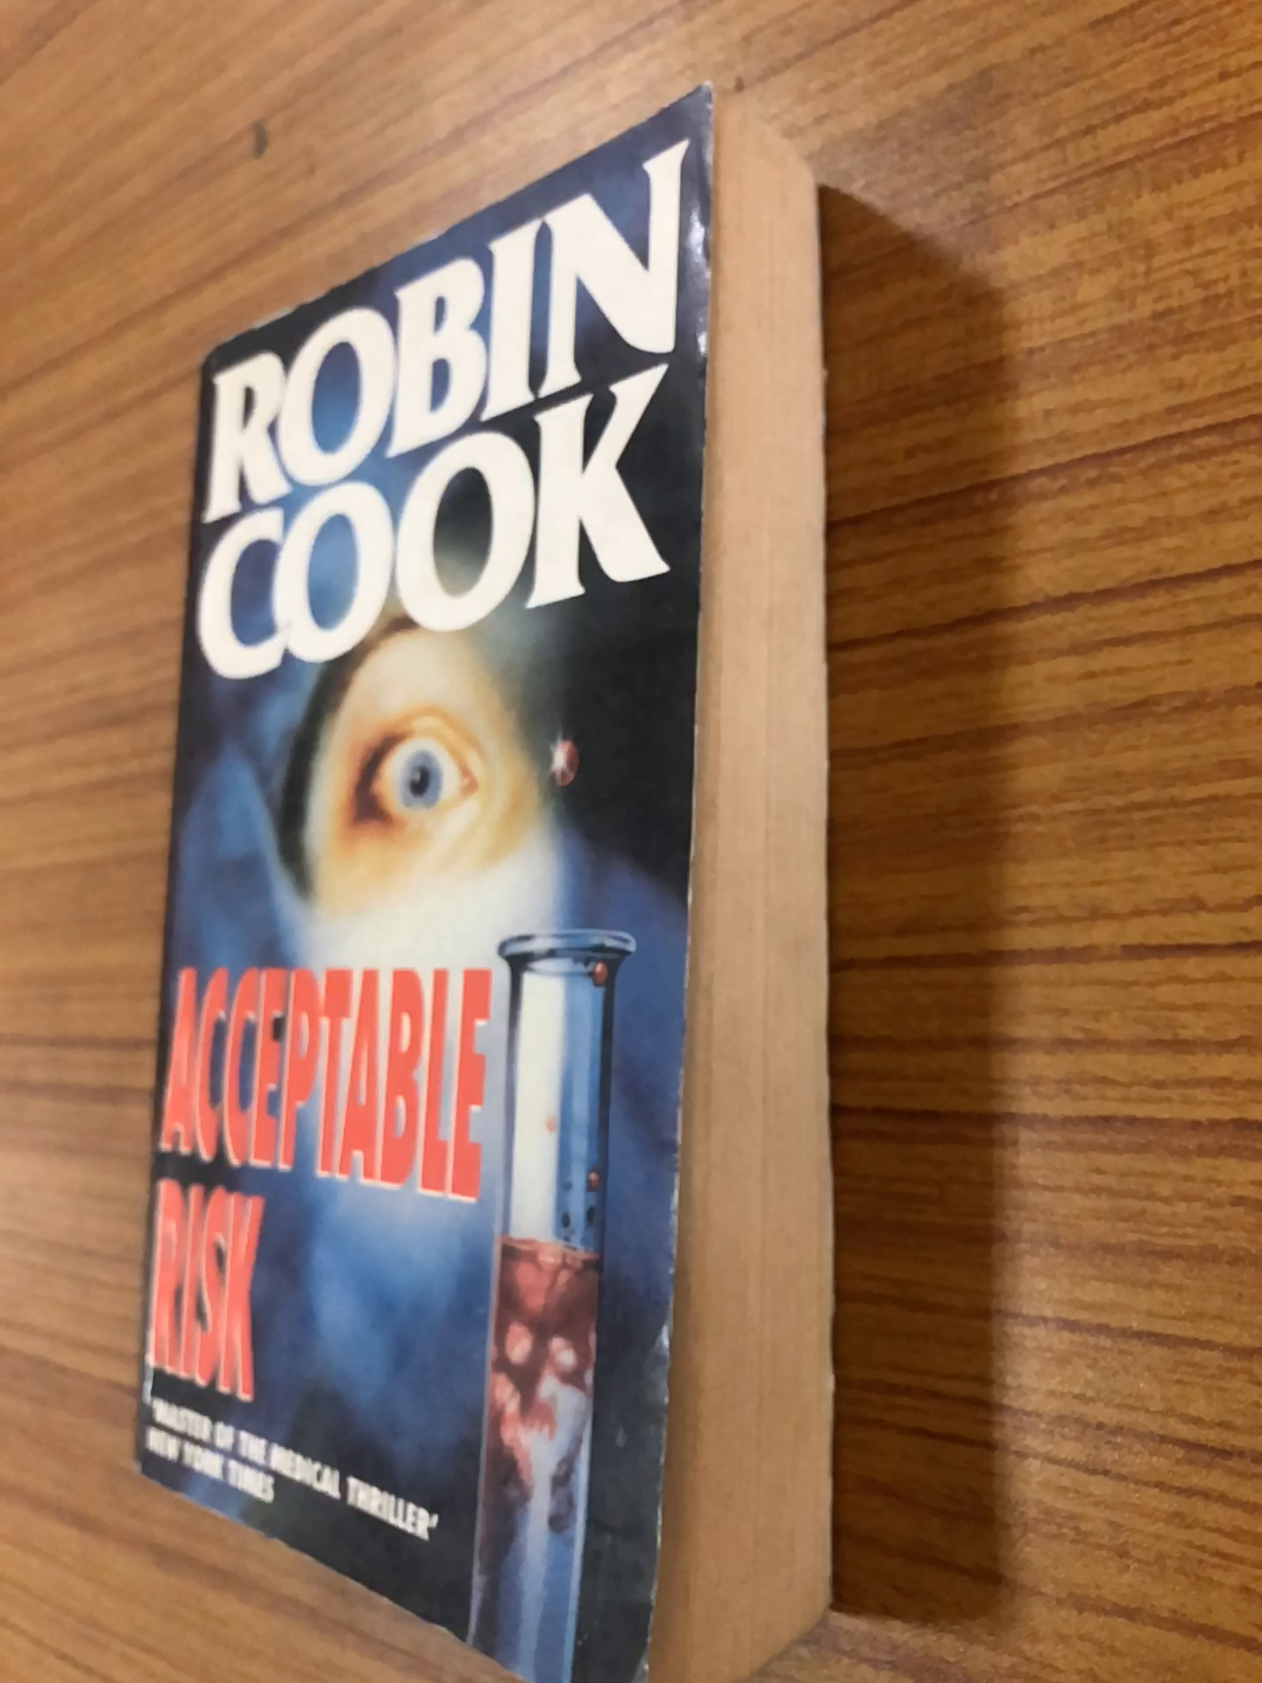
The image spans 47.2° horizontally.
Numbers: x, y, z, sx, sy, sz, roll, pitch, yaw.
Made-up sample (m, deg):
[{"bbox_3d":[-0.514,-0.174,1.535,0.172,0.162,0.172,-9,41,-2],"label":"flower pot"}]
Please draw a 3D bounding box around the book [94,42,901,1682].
[{"bbox_3d":[-0.022,0.003,0.198,0.111,0.040,0.170,-4,82,41],"label":"book"}]
